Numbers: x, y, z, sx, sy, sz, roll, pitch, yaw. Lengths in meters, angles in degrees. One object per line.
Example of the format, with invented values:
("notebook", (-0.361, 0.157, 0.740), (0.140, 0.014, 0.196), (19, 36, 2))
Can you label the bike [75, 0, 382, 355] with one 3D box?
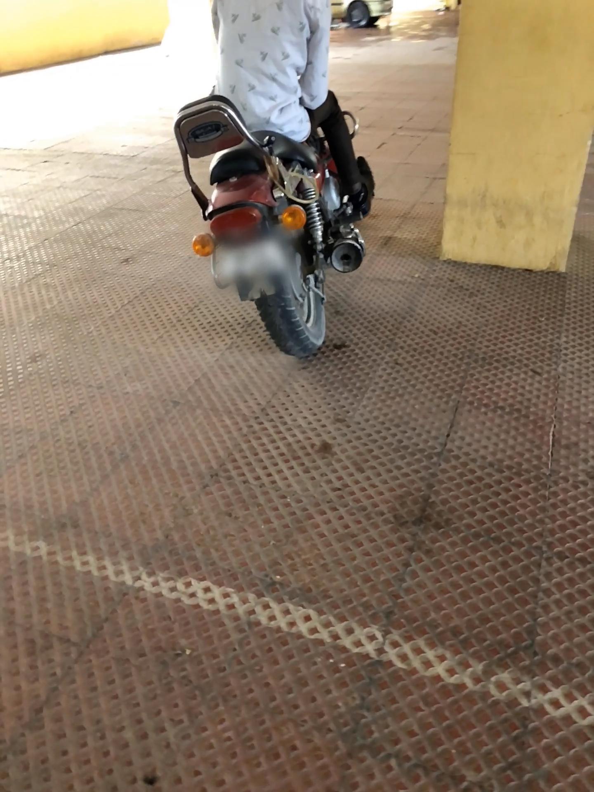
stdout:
("bike", (-0.225, -1.130, 2.502), (0.756, 1.048, 1.658), (-3, 39, -2))
